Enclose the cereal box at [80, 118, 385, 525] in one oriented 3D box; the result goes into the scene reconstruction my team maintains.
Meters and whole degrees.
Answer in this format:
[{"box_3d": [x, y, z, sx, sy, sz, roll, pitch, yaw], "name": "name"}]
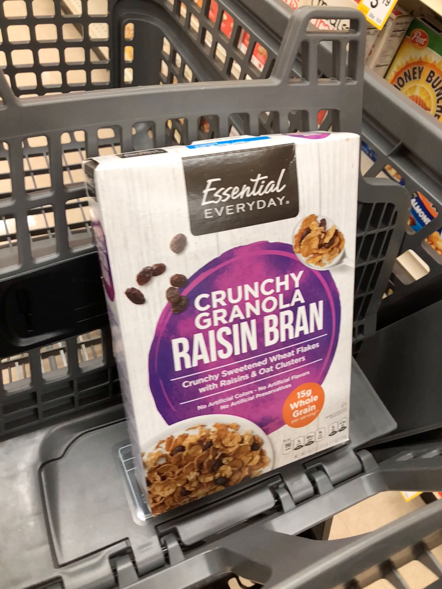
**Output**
[{"box_3d": [0.020, 0.016, 0.391, 0.200, 0.280, 0.070, -13, 24, -21], "name": "cereal box"}]
